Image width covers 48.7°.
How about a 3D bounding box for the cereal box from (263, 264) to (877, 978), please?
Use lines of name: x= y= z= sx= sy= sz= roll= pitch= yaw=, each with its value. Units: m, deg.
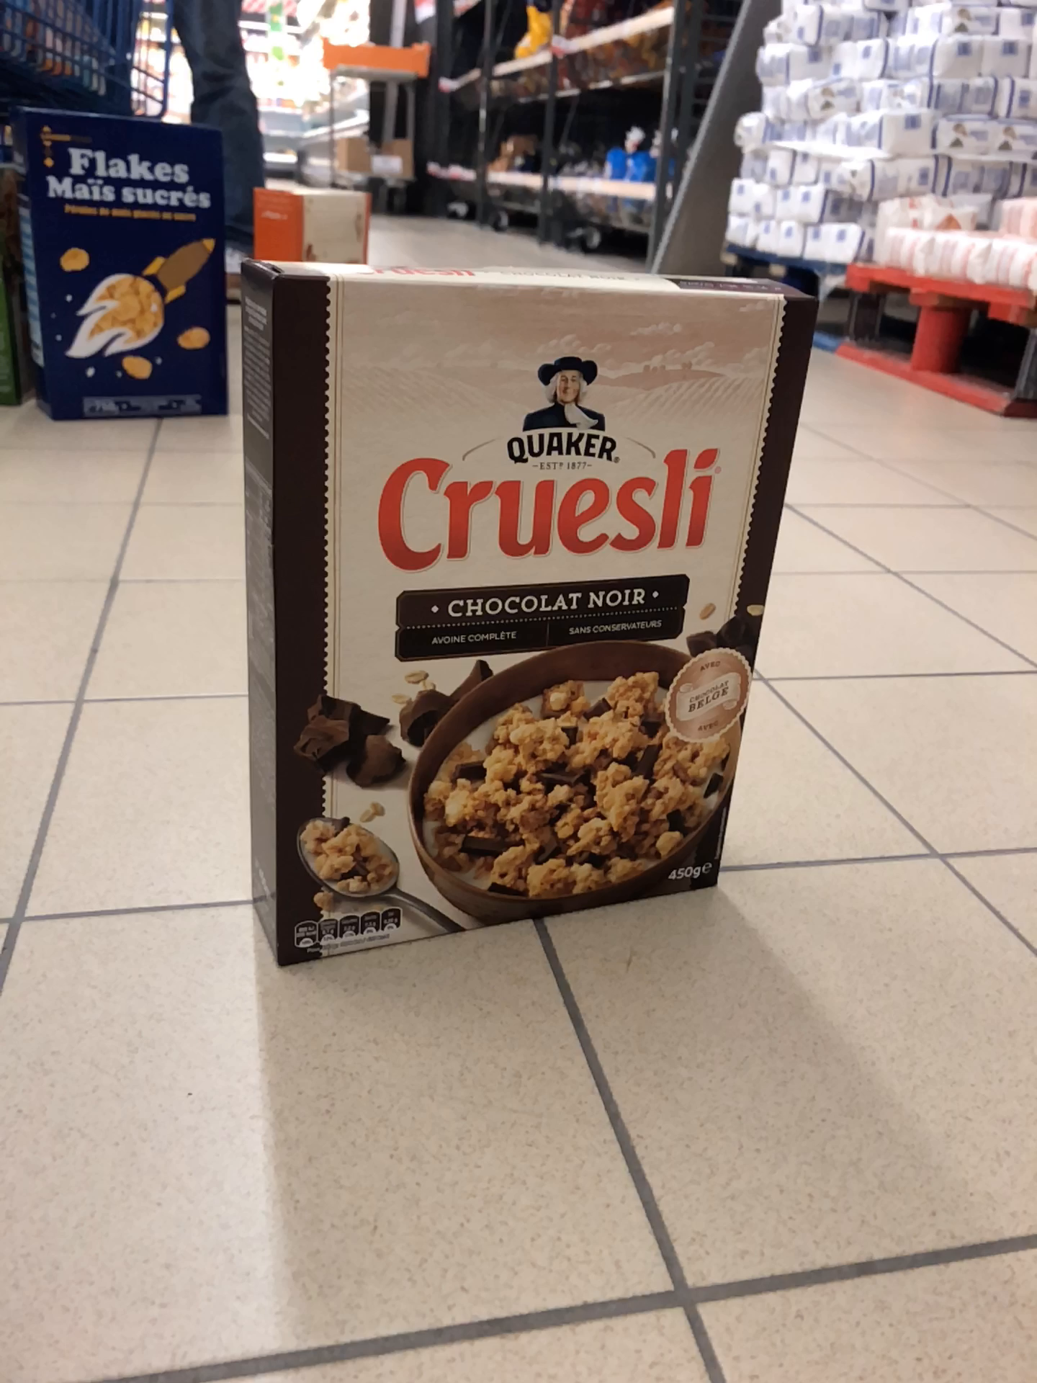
cereal box: x=0.014 y=-0.025 z=0.424 sx=0.201 sy=0.239 sz=0.050 roll=-6 pitch=25 yaw=-21
